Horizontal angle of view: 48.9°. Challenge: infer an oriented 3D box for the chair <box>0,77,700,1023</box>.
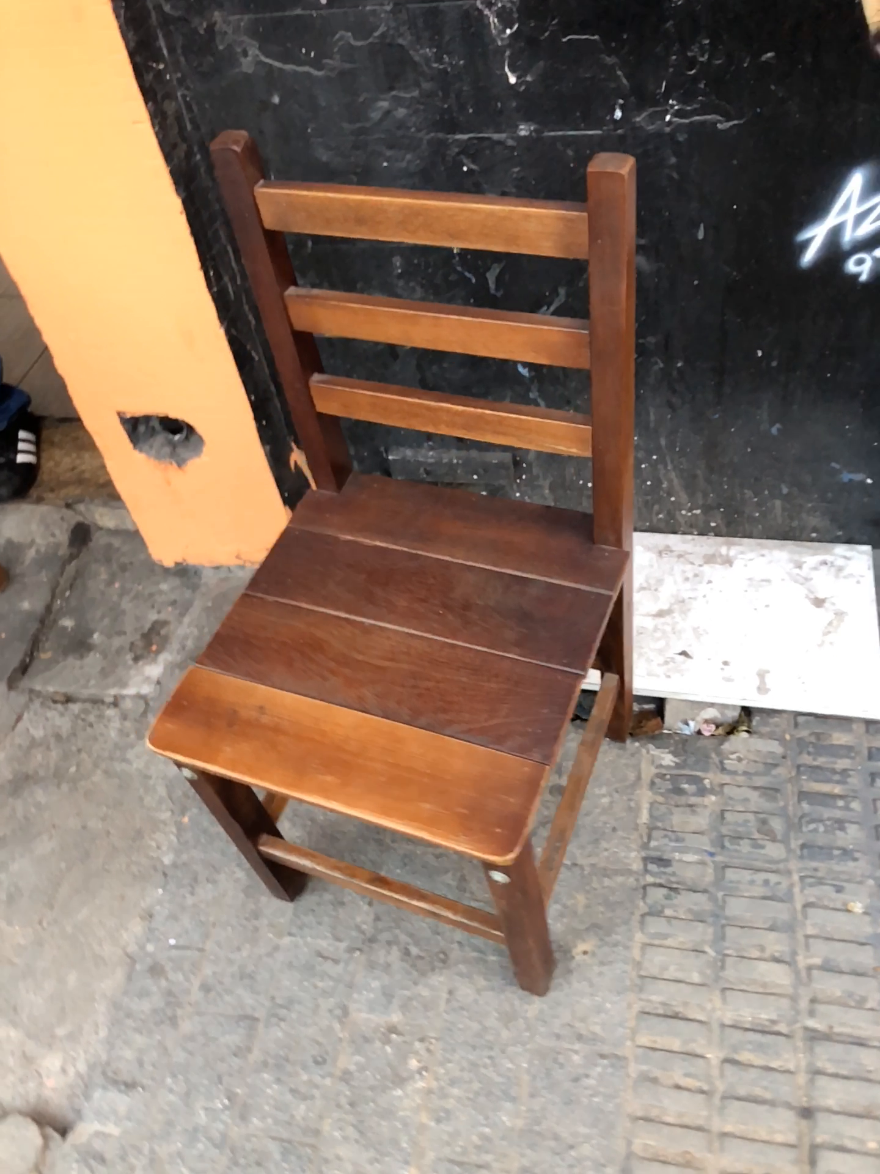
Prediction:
[{"bbox_3d":[-0.027,0.006,1.086,0.461,0.894,0.503,13,52,21],"label":"chair"}]
